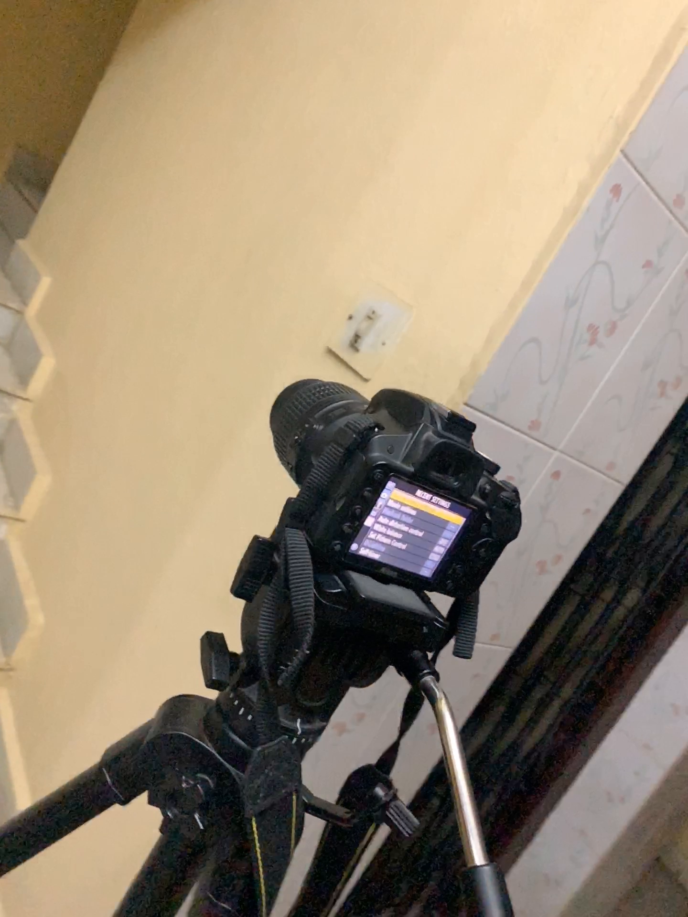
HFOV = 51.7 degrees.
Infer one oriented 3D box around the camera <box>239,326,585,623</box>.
[{"bbox_3d":[0.034,0.008,0.419,0.134,0.090,0.130,24,13,-33],"label":"camera"}]
